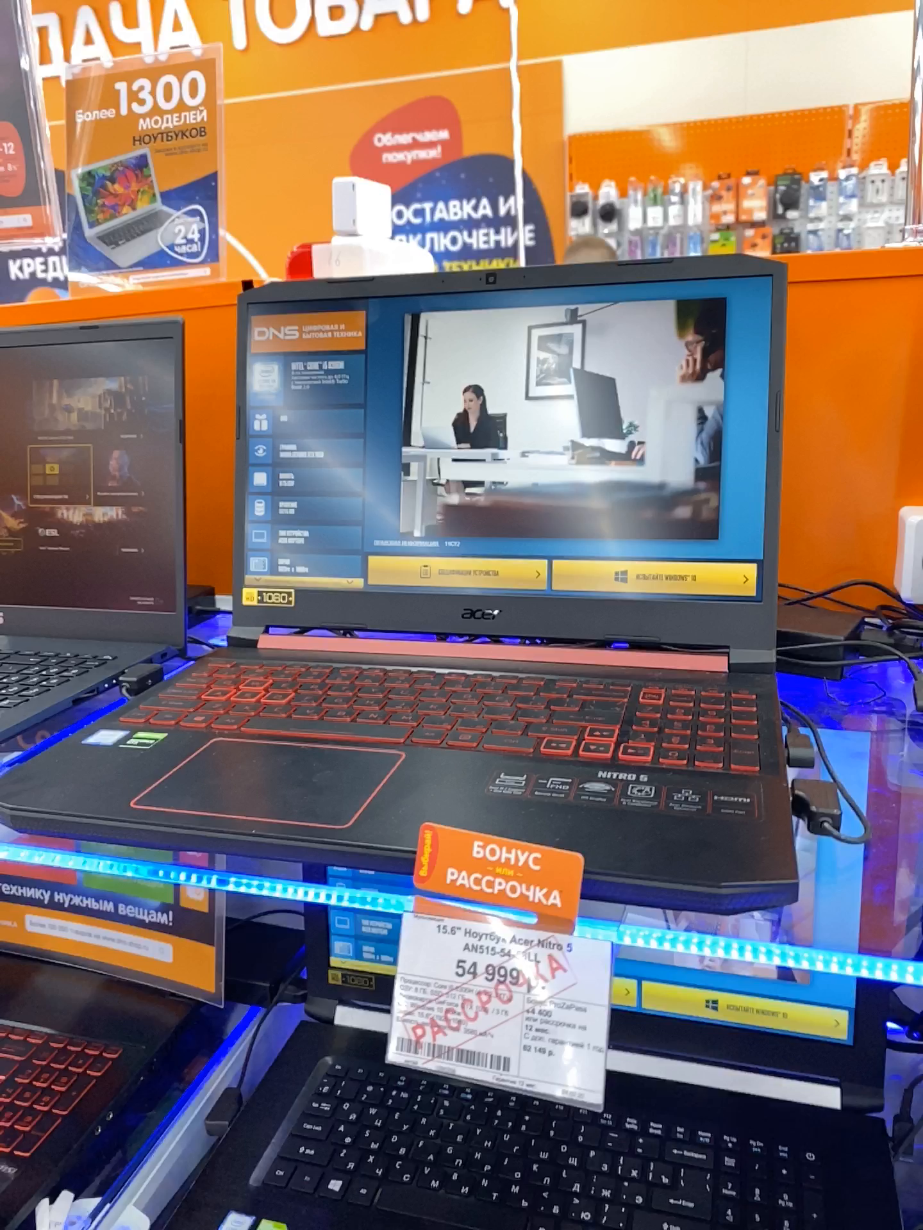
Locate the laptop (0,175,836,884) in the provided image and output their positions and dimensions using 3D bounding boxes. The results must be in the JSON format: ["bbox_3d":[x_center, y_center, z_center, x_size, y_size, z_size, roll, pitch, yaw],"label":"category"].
[{"bbox_3d":[-0.016,-0.062,0.499,0.360,0.237,0.303,2,15,15],"label":"laptop"}]
